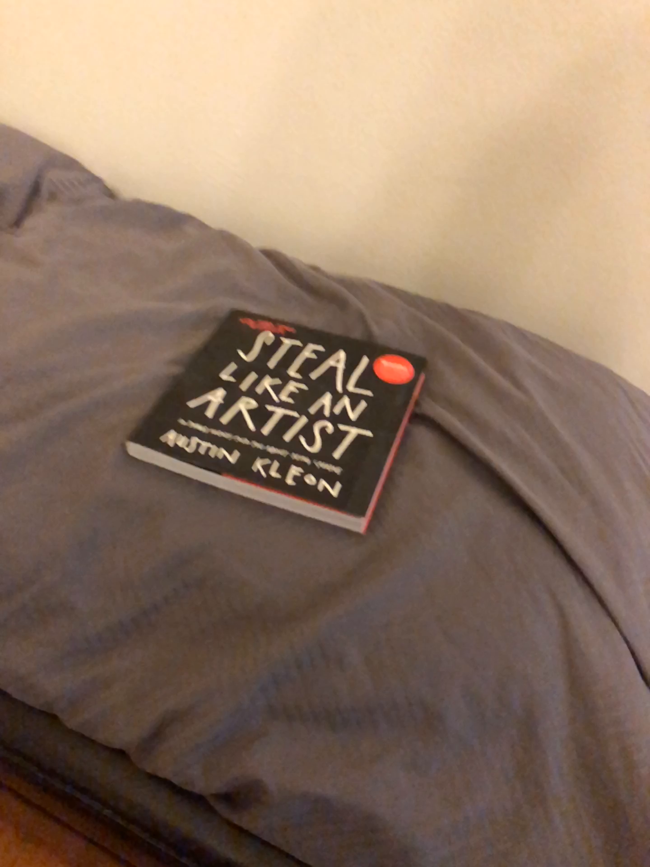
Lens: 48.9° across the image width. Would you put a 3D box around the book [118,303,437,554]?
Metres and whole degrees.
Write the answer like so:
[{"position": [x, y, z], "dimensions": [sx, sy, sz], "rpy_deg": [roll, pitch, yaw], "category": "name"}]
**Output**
[{"position": [-0.023, -0.014, 0.476], "dimensions": [0.160, 0.020, 0.161], "rpy_deg": [18, 47, 10], "category": "book"}]
